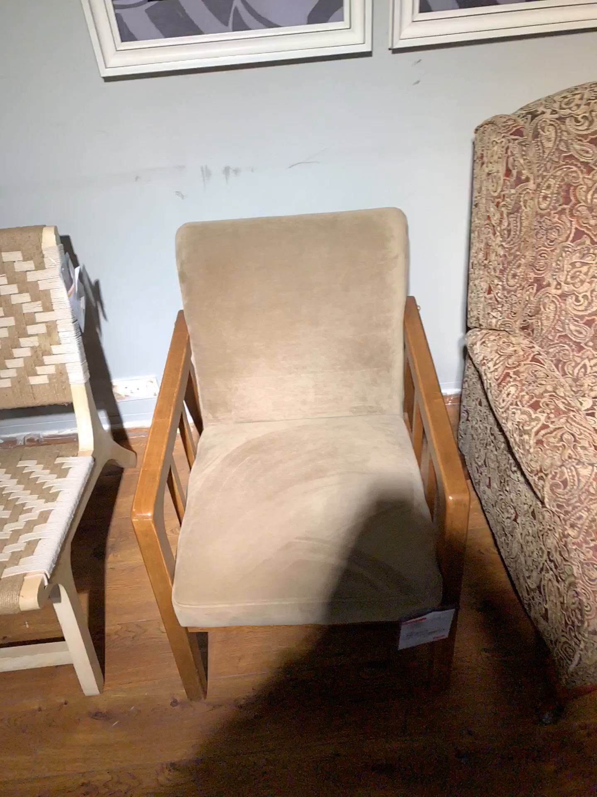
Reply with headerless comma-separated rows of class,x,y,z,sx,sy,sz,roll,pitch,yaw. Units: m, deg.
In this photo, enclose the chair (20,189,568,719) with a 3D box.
chair,0.002,0.094,1.366,0.720,0.737,0.874,-4,42,1
